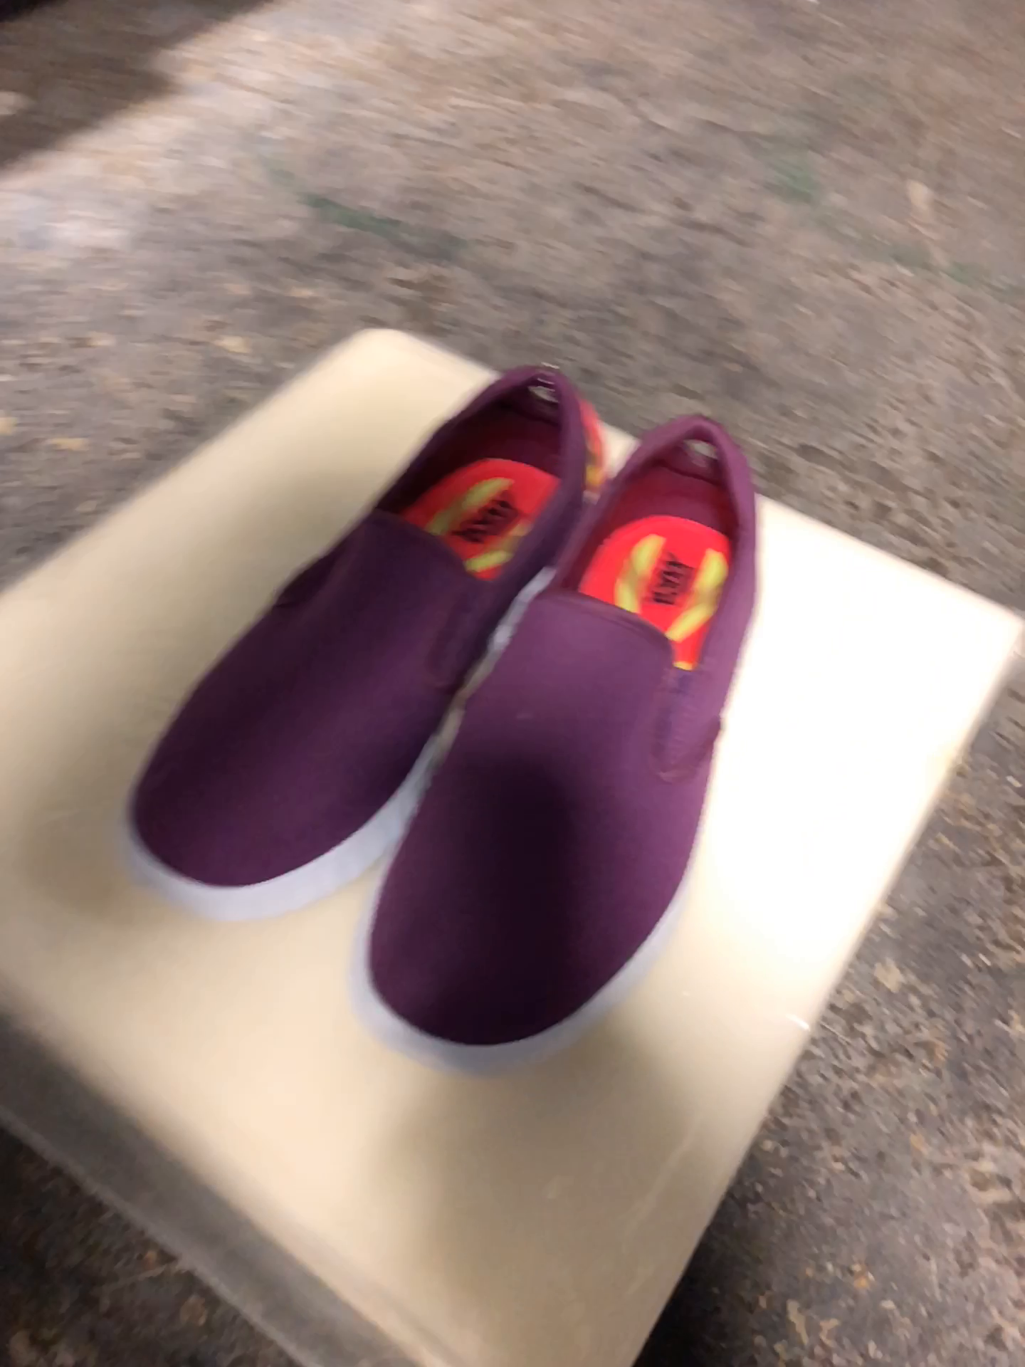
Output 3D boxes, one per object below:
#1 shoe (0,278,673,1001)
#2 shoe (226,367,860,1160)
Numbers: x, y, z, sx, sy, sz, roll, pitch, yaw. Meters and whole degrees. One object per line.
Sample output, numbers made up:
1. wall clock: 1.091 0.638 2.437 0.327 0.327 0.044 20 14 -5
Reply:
1. shoe: -0.048 -0.033 0.414 0.100 0.089 0.261 25 54 17
2. shoe: 0.024 0.010 0.377 0.100 0.089 0.241 22 53 15
